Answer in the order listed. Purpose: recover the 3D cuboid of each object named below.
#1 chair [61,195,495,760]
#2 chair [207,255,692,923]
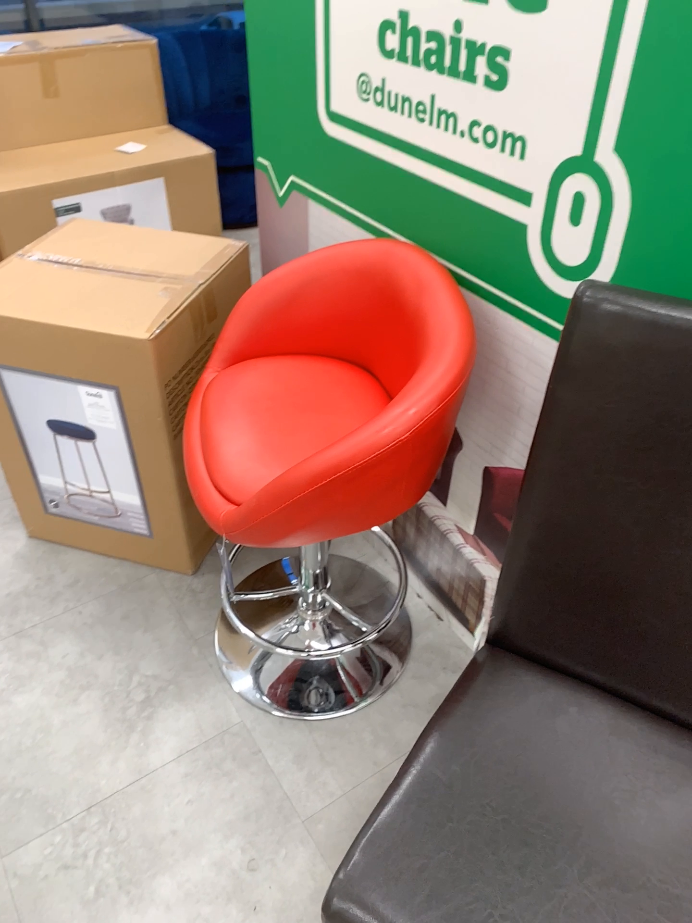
[{"bbox_3d":[-0.115,0.032,1.202,0.477,0.761,0.499,-7,40,-9],"label":"chair"},{"bbox_3d":[0.244,0.358,0.760,0.446,0.919,0.521,20,43,22],"label":"chair"}]
